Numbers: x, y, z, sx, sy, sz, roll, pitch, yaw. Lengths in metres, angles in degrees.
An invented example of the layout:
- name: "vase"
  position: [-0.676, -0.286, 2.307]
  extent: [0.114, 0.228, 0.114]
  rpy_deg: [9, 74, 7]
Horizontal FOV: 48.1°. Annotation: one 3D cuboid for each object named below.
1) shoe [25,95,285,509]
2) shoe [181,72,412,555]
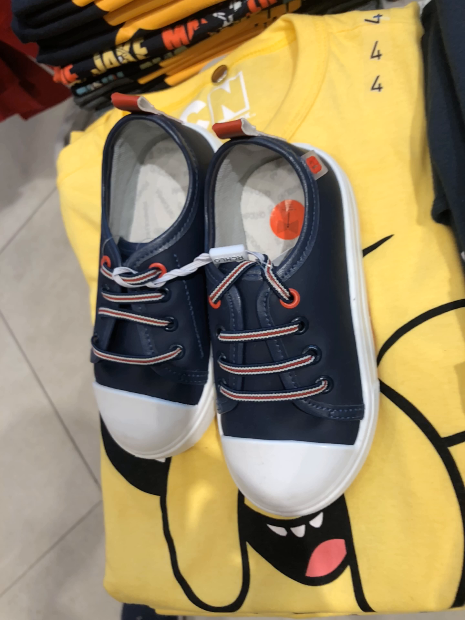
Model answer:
- name: "shoe"
  position: [-0.035, -0.007, 0.248]
  extent: [0.080, 0.070, 0.160]
  rpy_deg: [9, 94, 26]
- name: "shoe"
  position: [0.032, 0.002, 0.232]
  extent: [0.080, 0.070, 0.170]
  rpy_deg: [-2, 90, 24]
